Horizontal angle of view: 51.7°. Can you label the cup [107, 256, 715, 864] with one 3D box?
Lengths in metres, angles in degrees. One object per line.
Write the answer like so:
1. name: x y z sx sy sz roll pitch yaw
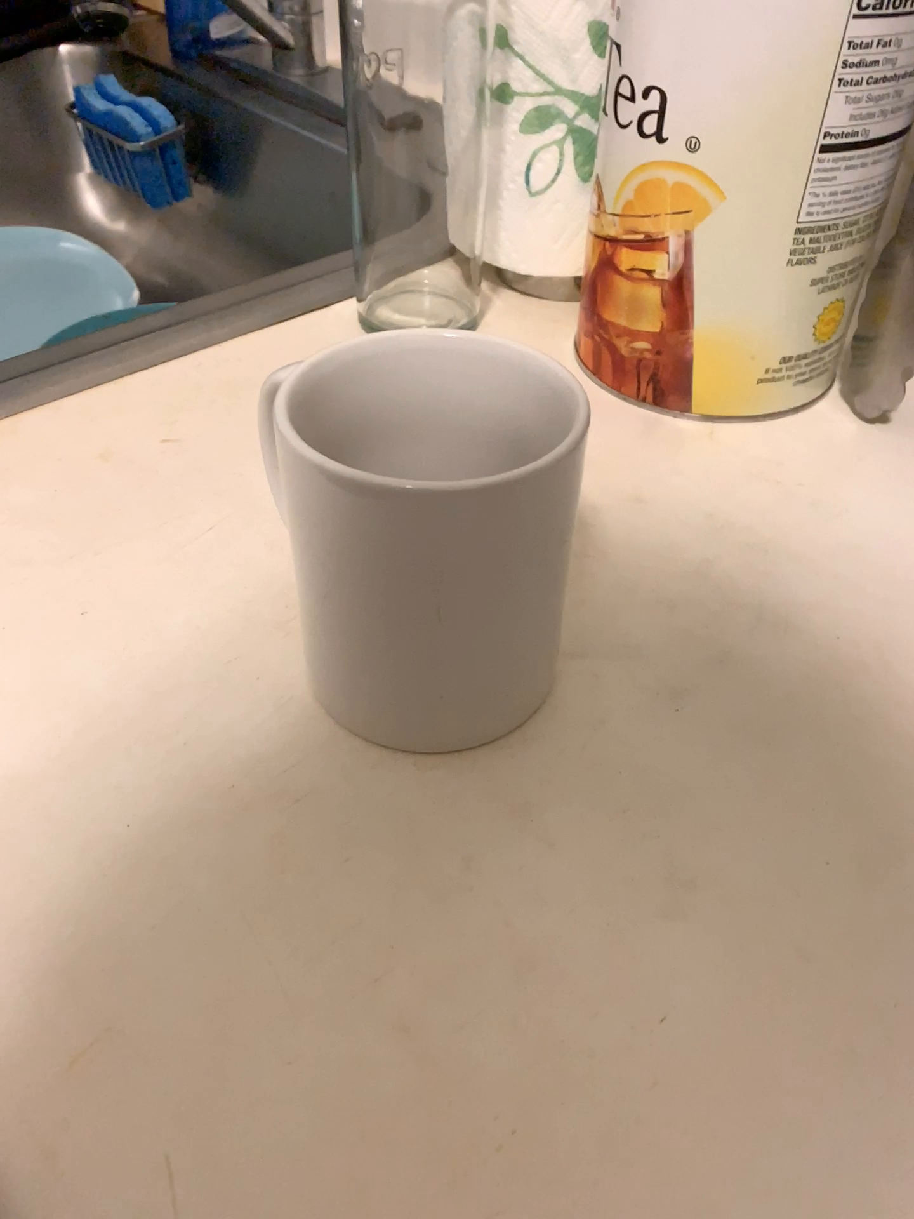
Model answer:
1. cup: -0.016 -0.022 0.292 0.141 0.109 0.090 31 50 27
